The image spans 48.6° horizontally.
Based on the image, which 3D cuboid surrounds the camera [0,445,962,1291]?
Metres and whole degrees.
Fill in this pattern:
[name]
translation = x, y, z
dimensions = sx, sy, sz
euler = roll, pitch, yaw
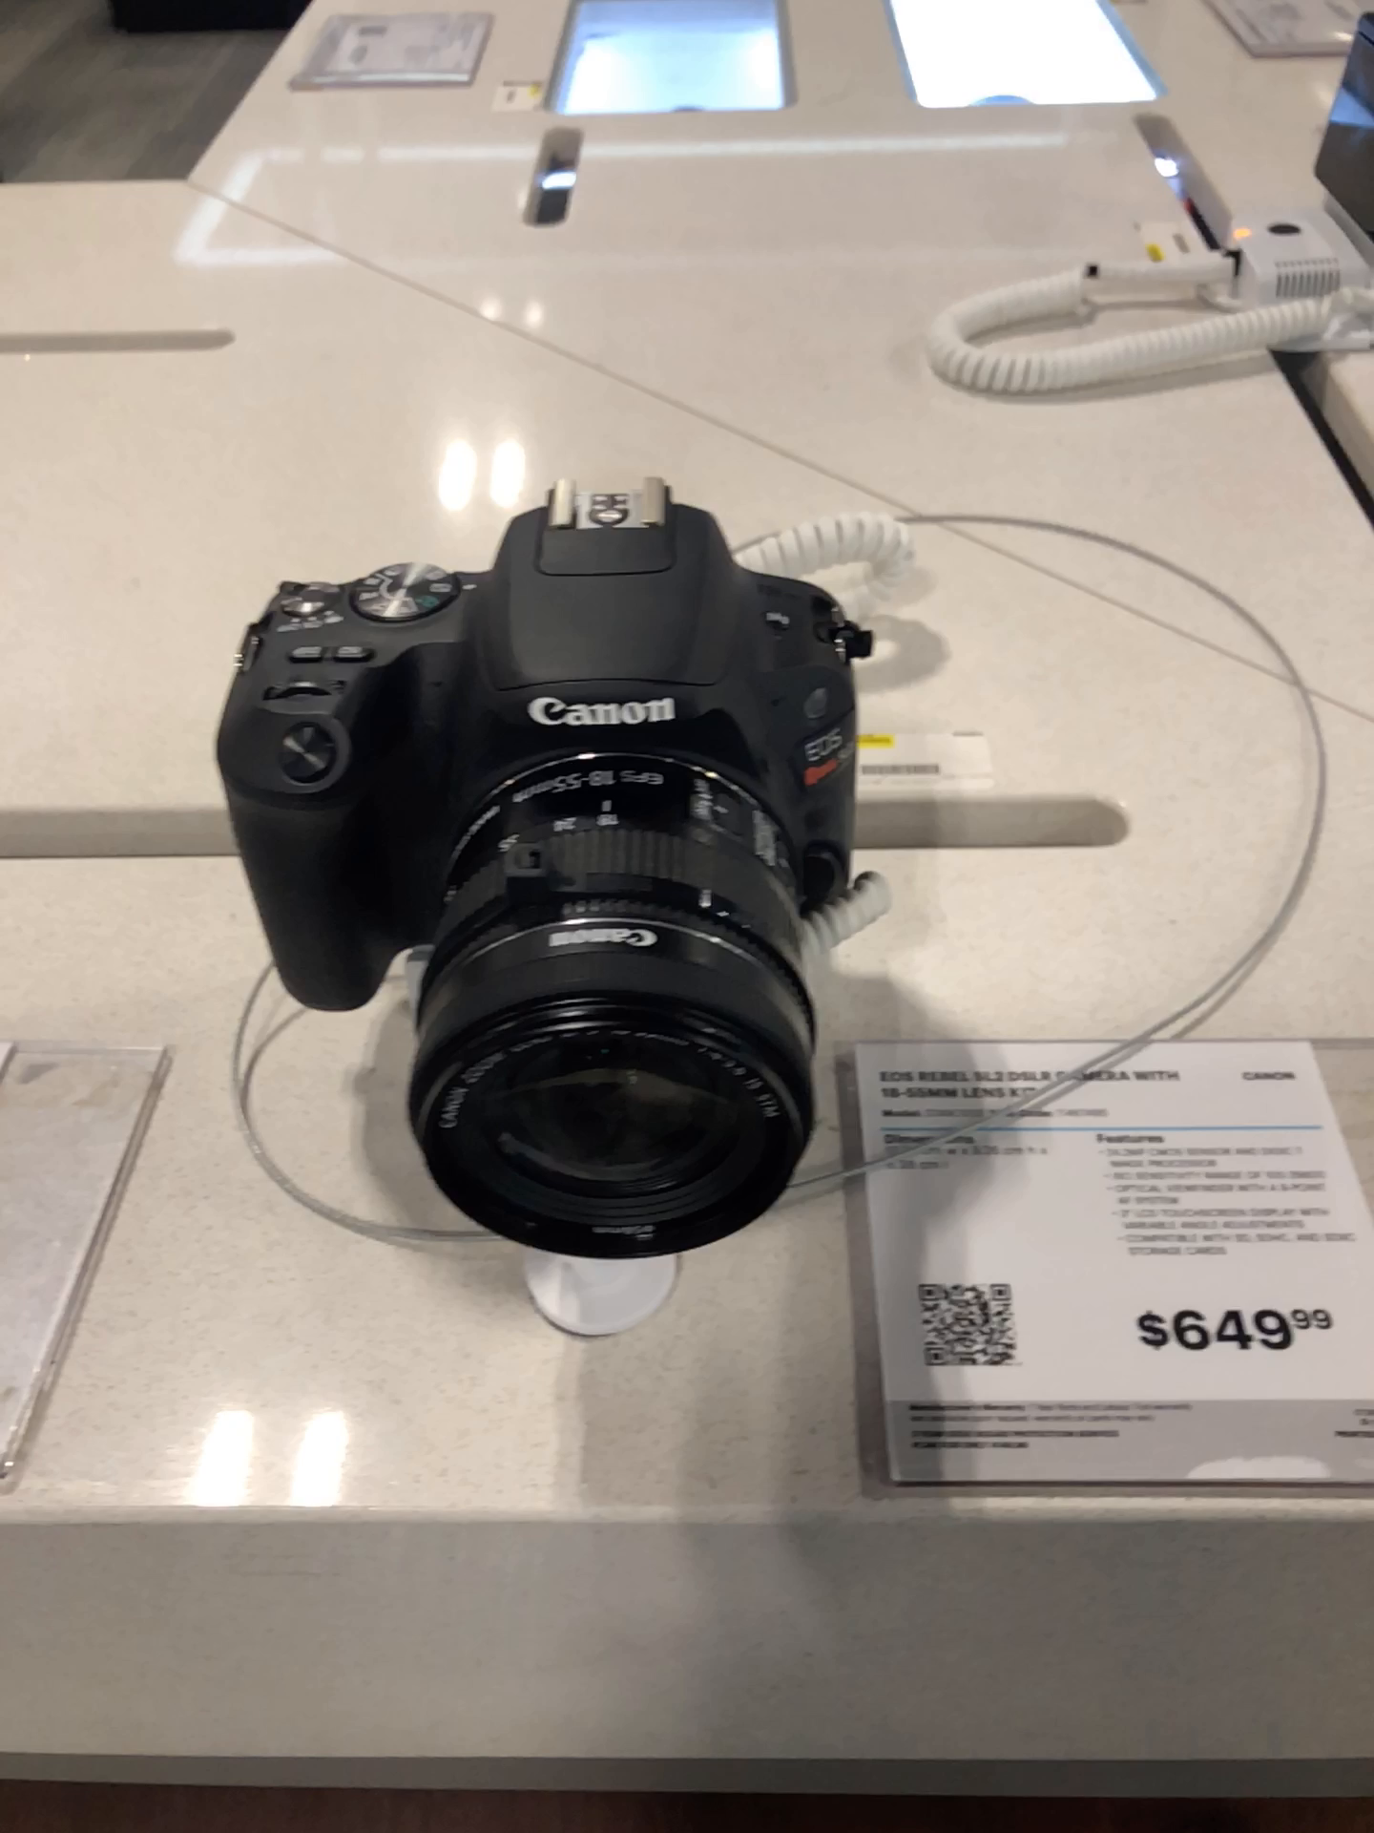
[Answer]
[camera]
translation = -0.027, -0.017, 0.279
dimensions = 0.130, 0.070, 0.151
euler = -1, 44, 2
